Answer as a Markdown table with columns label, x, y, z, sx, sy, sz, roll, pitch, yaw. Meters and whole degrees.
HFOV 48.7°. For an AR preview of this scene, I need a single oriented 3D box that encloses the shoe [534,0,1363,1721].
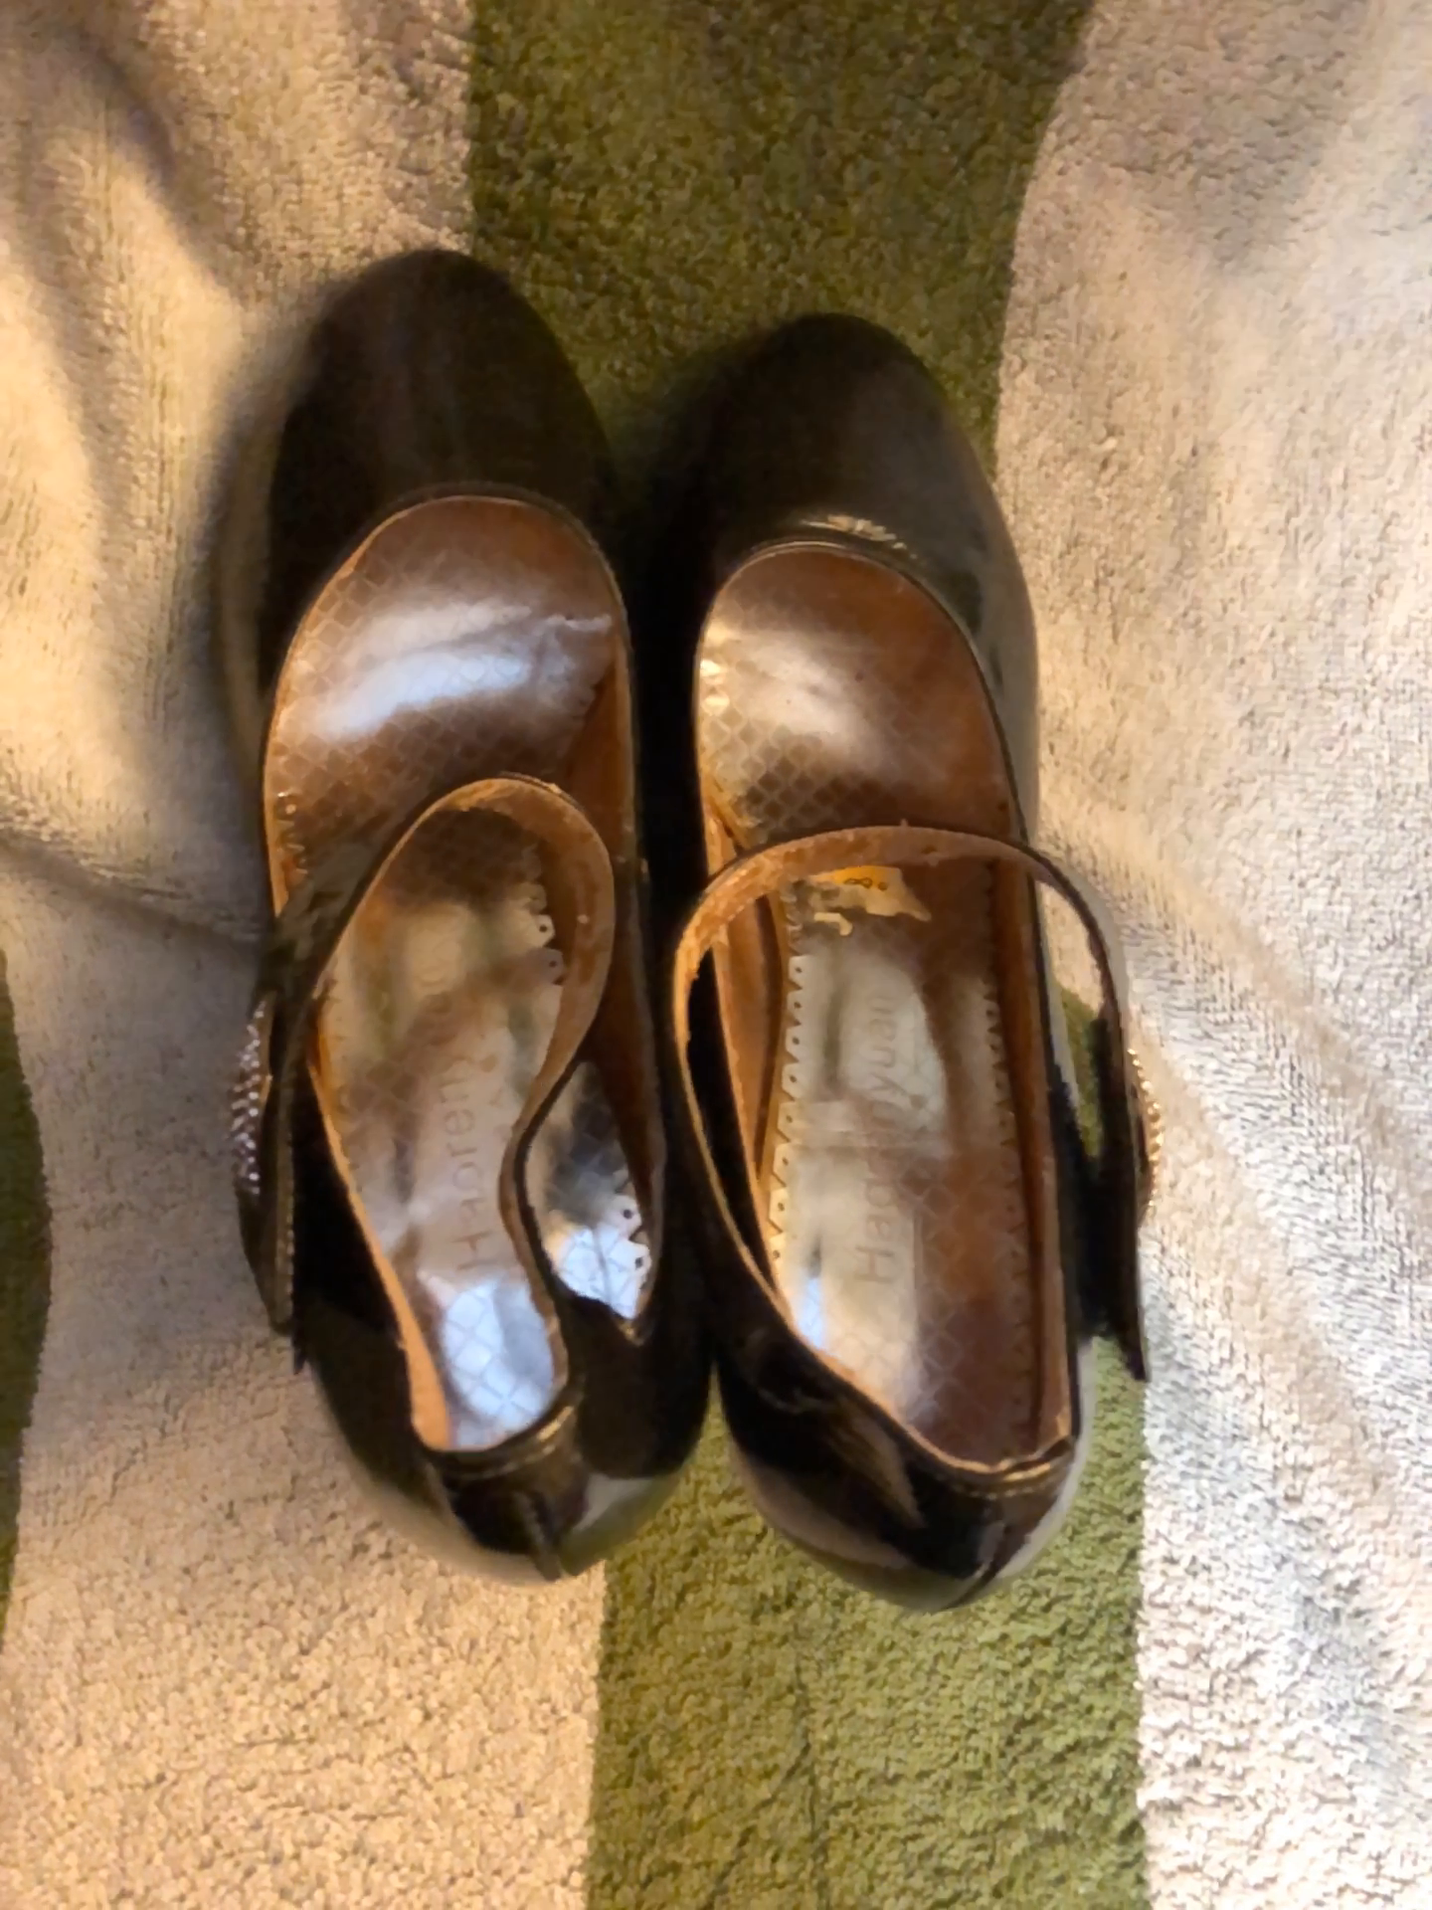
| label | x | y | z | sx | sy | sz | roll | pitch | yaw |
| --- | --- | --- | --- | --- | --- | --- | --- | --- | --- |
| shoe | 0.027 | -0.024 | 0.258 | 0.090 | 0.120 | 0.240 | 5 | 85 | -8 |

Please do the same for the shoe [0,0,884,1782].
| label | x | y | z | sx | sy | sz | roll | pitch | yaw |
| --- | --- | --- | --- | --- | --- | --- | --- | --- | --- |
| shoe | -0.044 | -0.025 | 0.252 | 0.090 | 0.120 | 0.240 | -5 | 86 | -9 |
